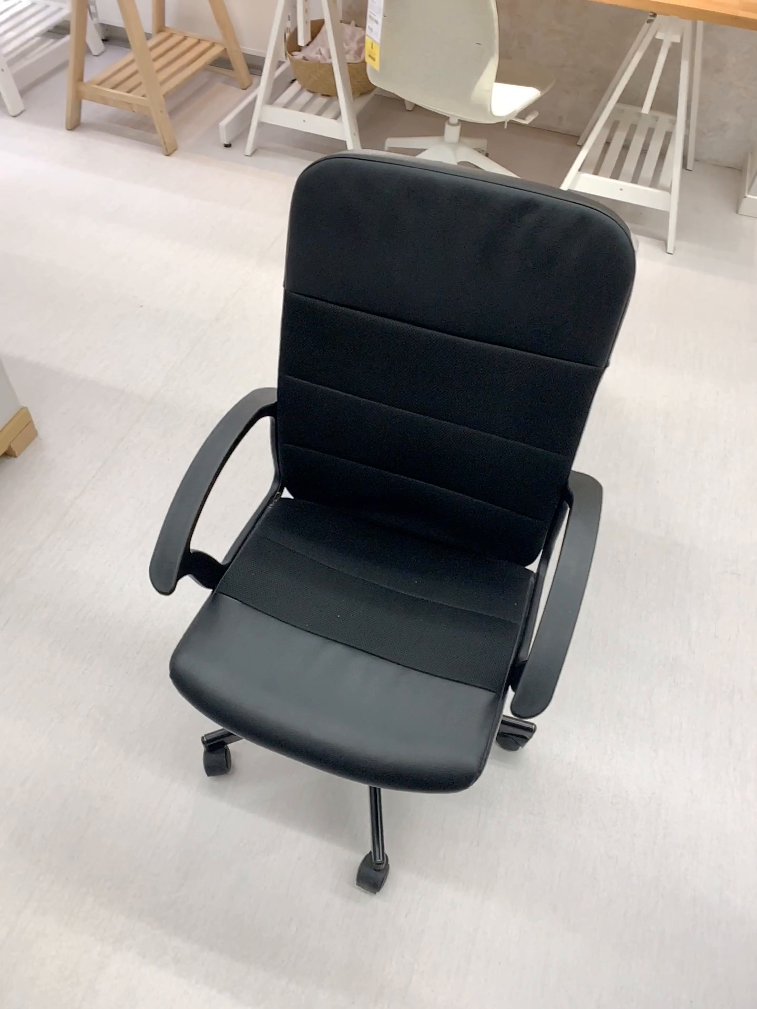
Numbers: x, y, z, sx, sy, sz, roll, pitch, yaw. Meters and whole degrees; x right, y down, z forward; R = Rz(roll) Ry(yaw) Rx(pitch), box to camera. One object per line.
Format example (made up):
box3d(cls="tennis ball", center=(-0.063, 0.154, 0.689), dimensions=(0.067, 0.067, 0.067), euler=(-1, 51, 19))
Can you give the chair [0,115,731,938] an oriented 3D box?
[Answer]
box3d(cls="chair", center=(-0.004, 0.121, 1.118), dimensions=(0.610, 0.997, 0.581), euler=(15, 52, 8))
